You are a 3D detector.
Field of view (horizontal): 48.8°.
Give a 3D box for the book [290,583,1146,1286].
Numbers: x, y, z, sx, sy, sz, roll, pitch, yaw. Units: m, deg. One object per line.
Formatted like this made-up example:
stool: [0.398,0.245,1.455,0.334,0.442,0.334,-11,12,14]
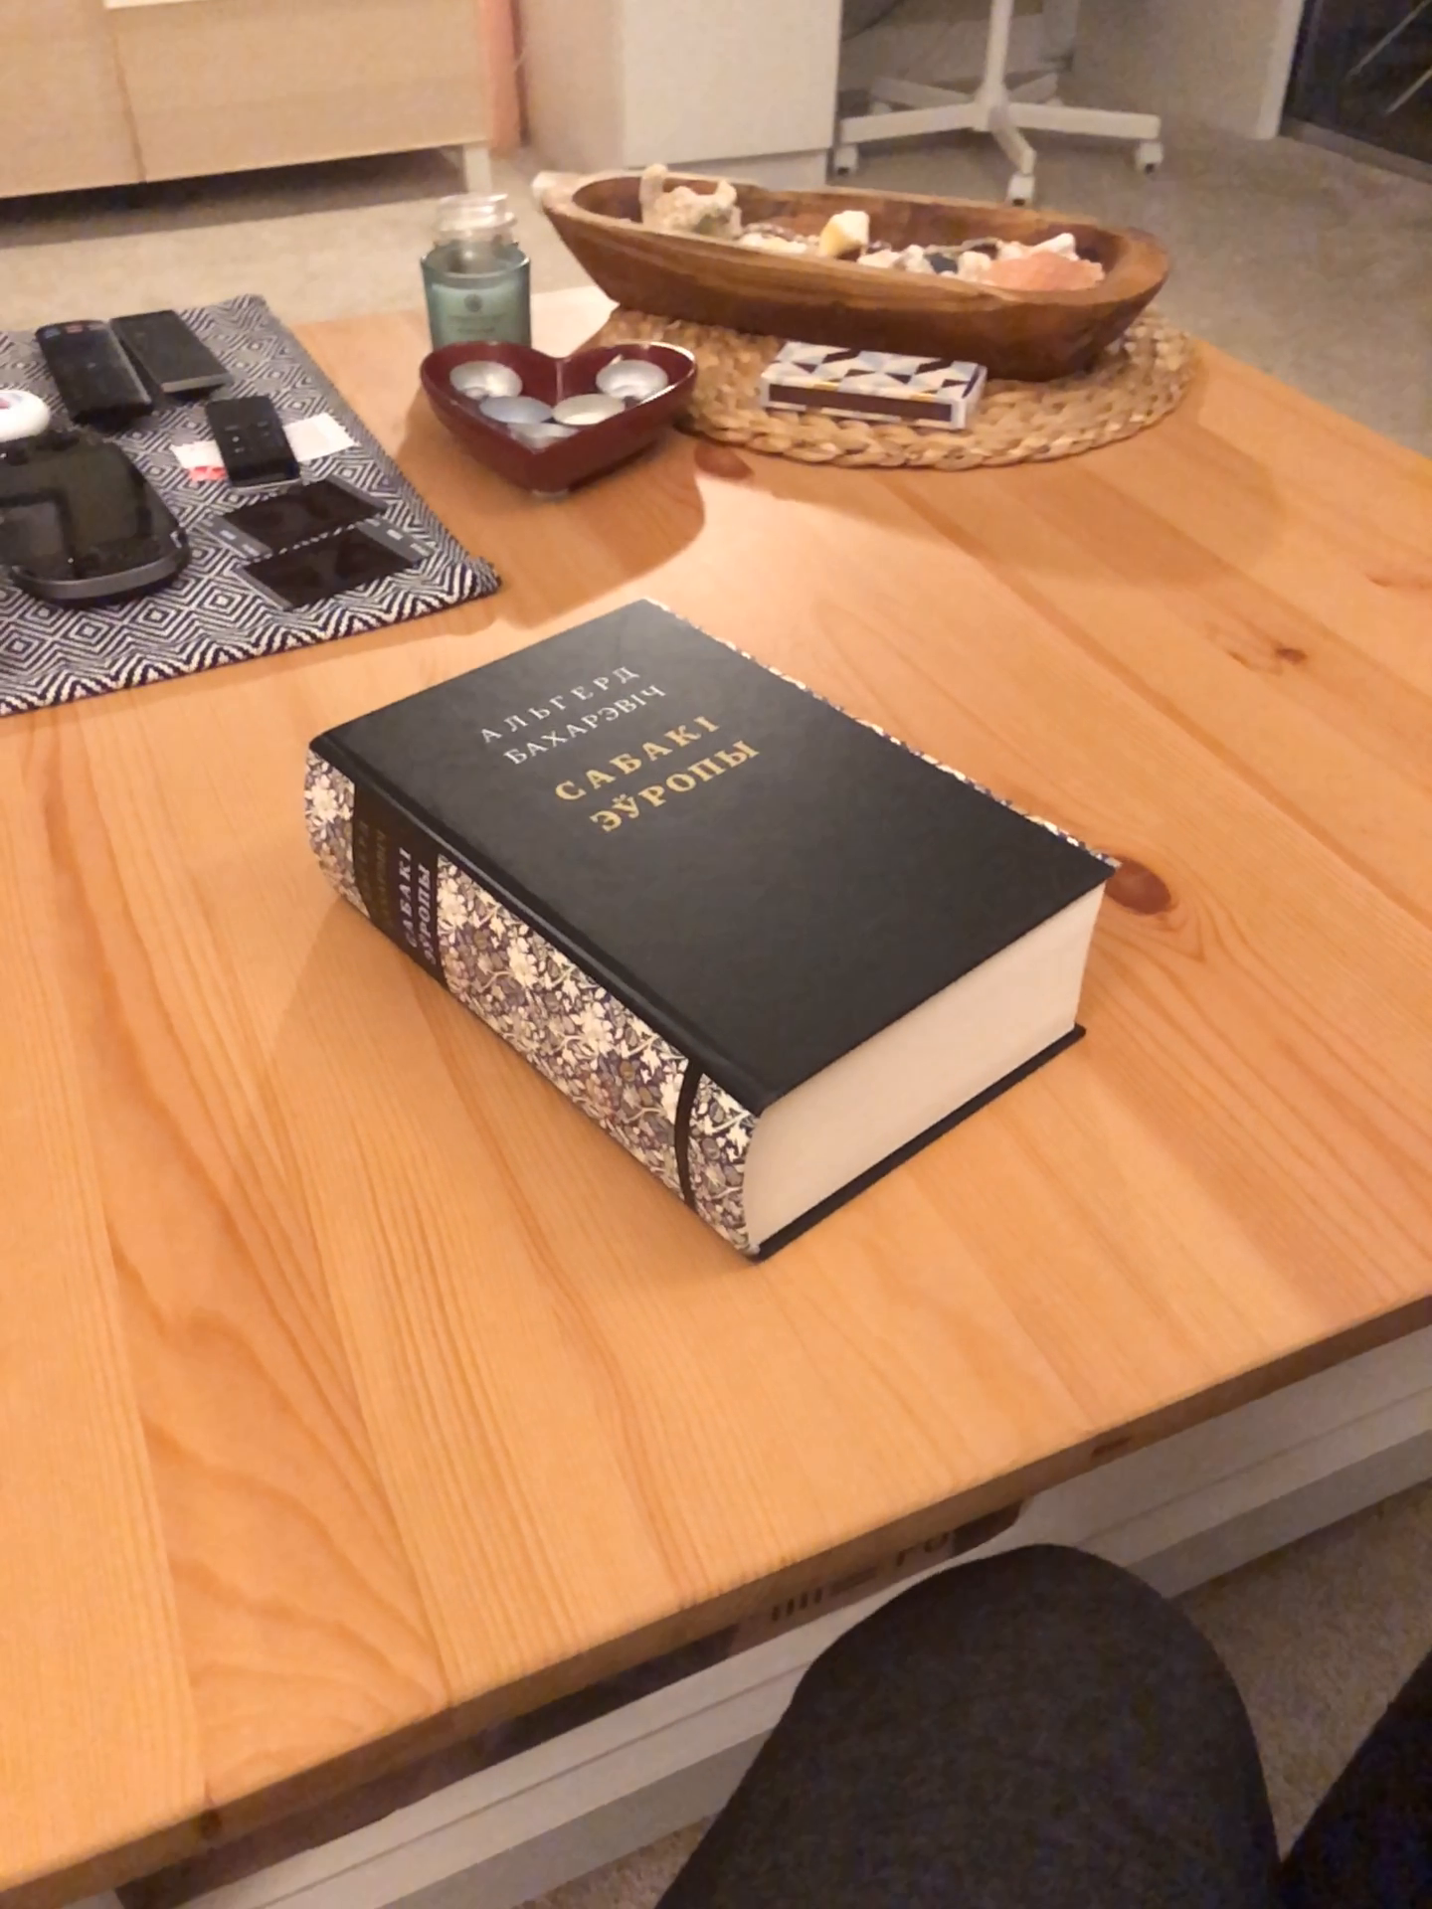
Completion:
book: [-0.006,-0.025,0.517,0.158,0.061,0.229,-31,51,-29]
